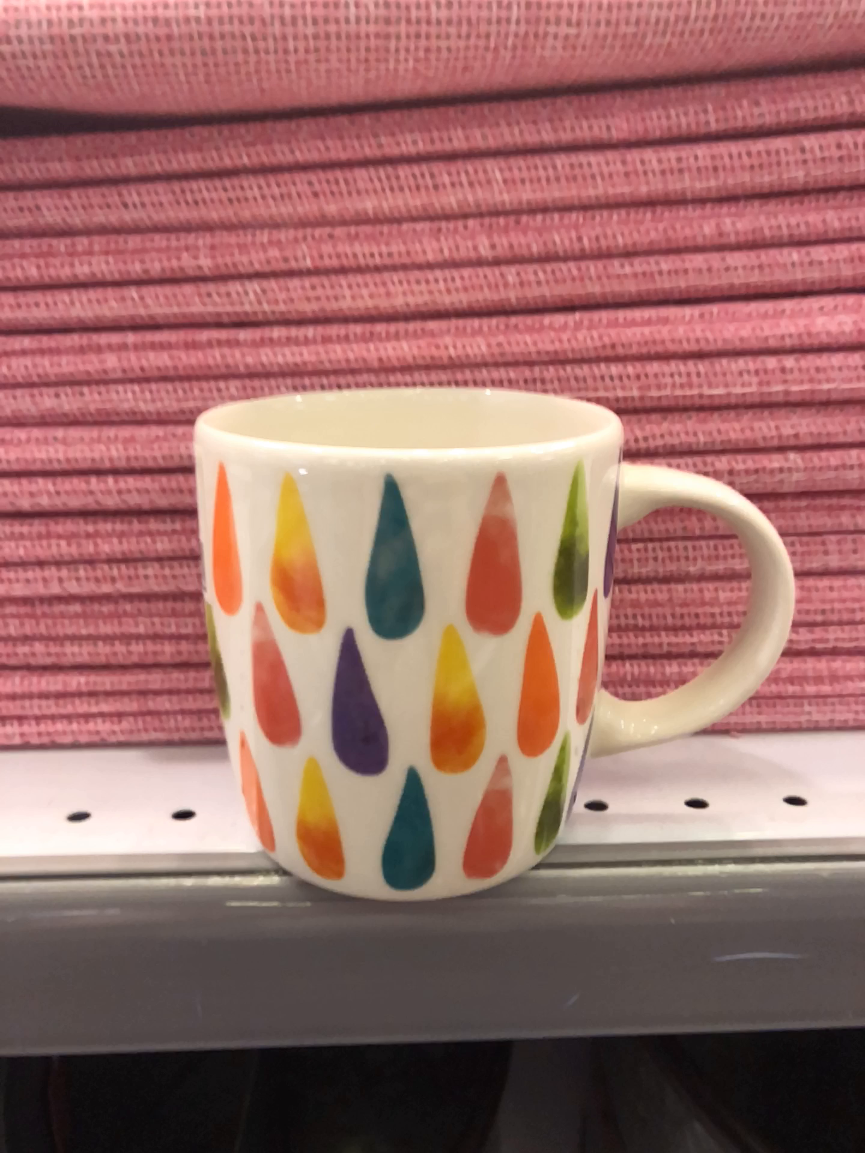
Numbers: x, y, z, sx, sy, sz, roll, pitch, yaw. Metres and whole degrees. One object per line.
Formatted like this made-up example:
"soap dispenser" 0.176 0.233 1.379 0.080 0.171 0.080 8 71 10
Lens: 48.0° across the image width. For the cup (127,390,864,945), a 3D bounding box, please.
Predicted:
"cup" 0.014 0.010 0.212 0.130 0.090 0.090 -1 17 -4
